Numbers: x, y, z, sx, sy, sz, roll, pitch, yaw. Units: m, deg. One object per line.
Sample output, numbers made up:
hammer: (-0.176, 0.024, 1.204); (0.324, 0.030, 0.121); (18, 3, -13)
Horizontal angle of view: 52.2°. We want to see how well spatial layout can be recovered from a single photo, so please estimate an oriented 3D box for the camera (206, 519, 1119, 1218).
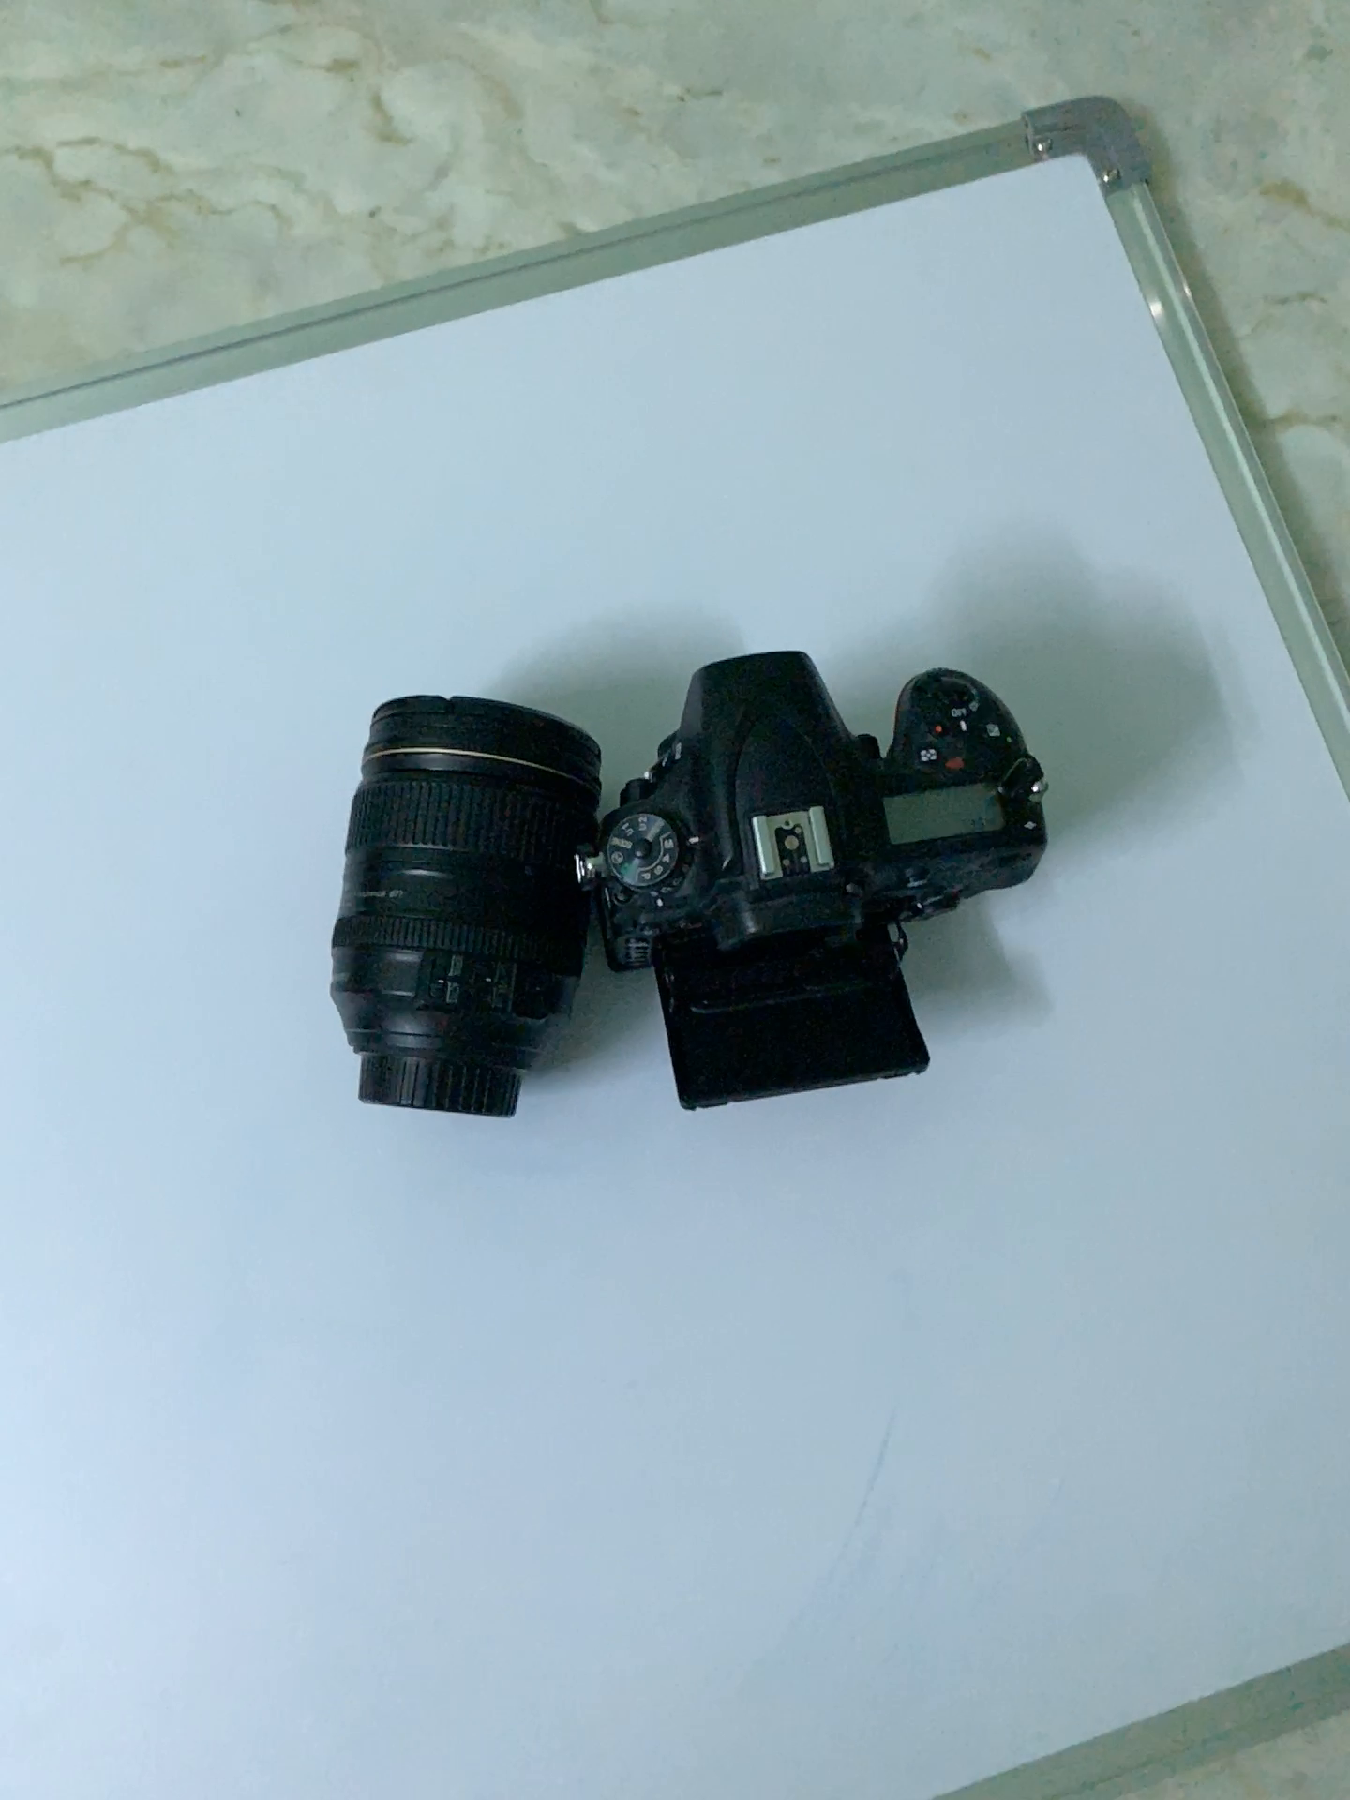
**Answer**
camera: (-0.007, -0.006, 0.458); (0.240, 0.100, 0.160); (-13, 81, -4)
